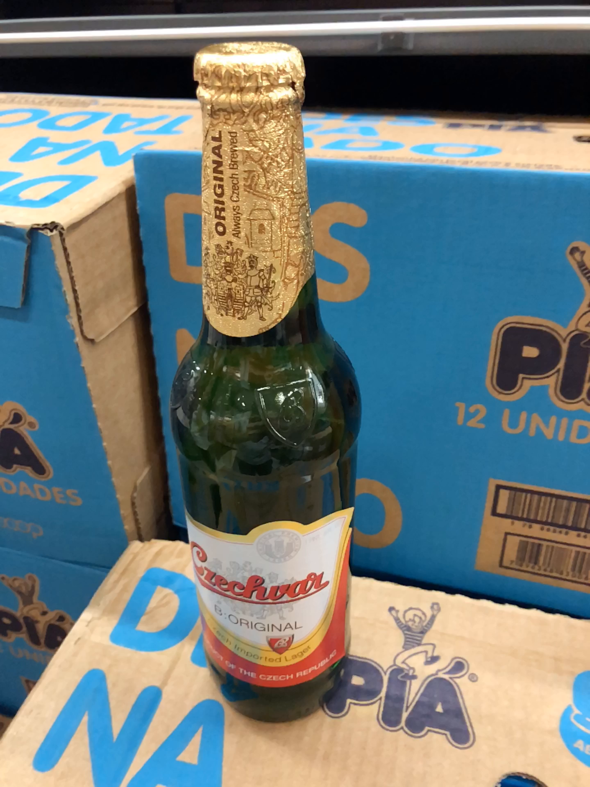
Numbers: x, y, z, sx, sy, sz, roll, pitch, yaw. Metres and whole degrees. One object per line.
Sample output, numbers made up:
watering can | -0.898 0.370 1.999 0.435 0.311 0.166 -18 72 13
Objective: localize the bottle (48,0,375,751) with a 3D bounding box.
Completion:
bottle | -0.014 0.010 0.241 0.070 0.268 0.071 -1 29 0
